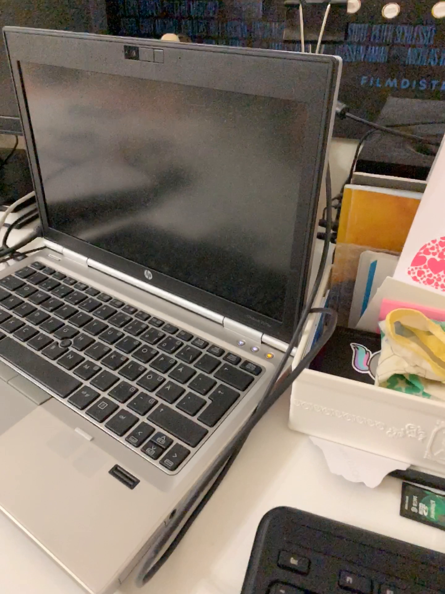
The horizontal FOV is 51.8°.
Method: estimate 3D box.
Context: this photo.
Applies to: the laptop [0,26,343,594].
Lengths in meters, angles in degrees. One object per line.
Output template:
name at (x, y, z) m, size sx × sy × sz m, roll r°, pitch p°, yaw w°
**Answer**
laptop at (-0.120, -0.046, 0.313) m, size 0.304 × 0.204 × 0.225 m, roll 22°, pitch 42°, yaw 29°
